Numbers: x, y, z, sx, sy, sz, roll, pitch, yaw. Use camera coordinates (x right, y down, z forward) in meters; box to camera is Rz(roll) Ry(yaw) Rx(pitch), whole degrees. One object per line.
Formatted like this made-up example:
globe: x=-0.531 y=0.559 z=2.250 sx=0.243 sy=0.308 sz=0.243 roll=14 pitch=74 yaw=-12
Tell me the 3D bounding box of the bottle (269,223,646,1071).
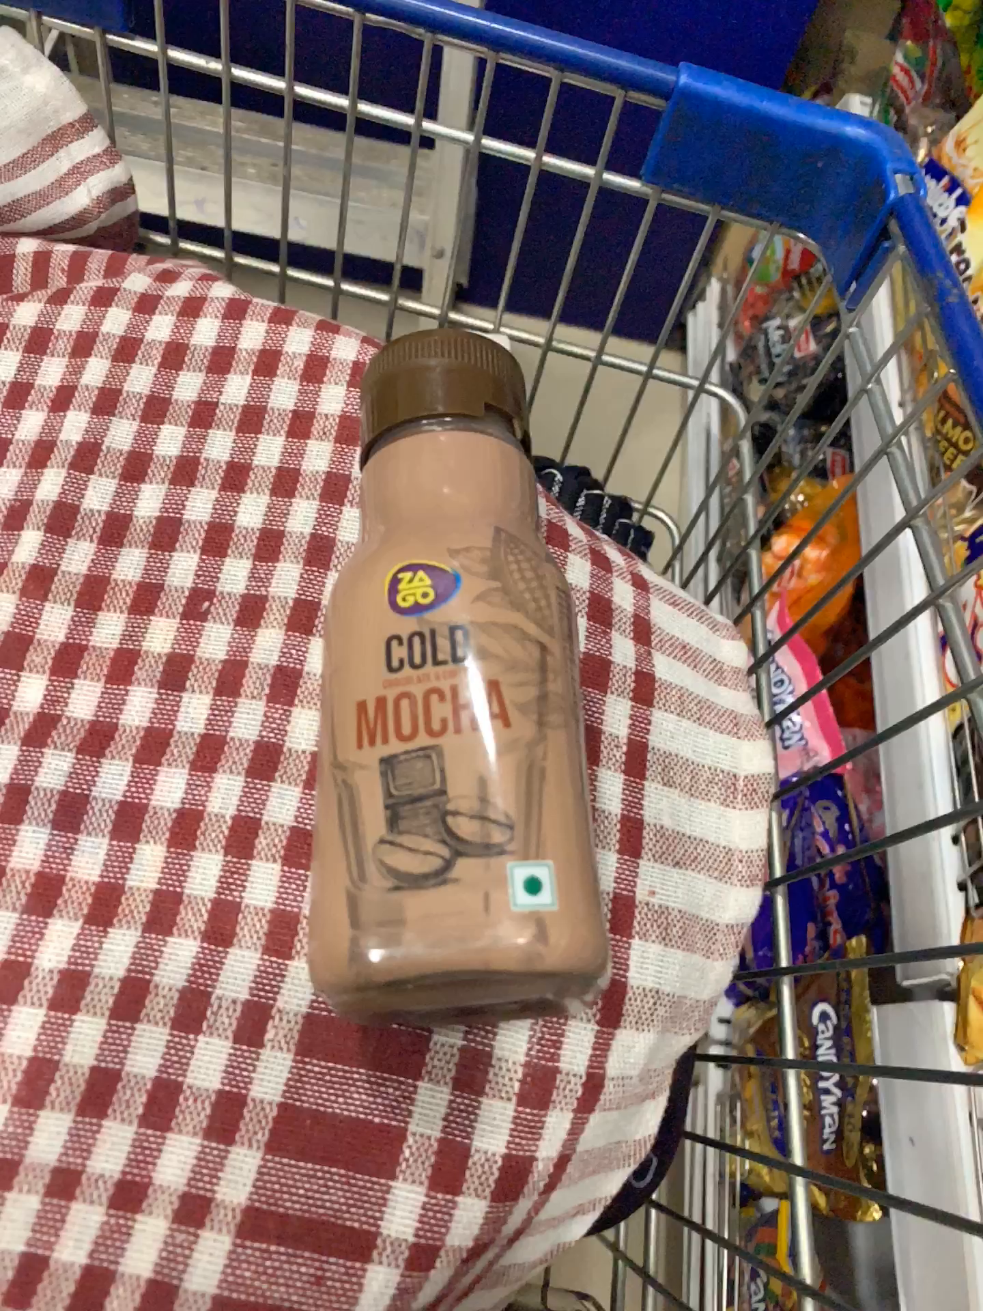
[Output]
bottle: x=-0.007 y=-0.002 z=0.226 sx=0.060 sy=0.070 sz=0.170 roll=-5 pitch=66 yaw=4
